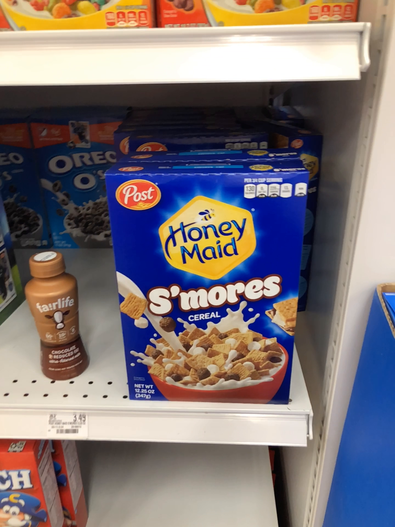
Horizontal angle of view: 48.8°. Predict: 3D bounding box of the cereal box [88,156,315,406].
[{"bbox_3d":[0.007,0.026,0.476,0.200,0.269,0.070,1,27,4],"label":"cereal box"}]
